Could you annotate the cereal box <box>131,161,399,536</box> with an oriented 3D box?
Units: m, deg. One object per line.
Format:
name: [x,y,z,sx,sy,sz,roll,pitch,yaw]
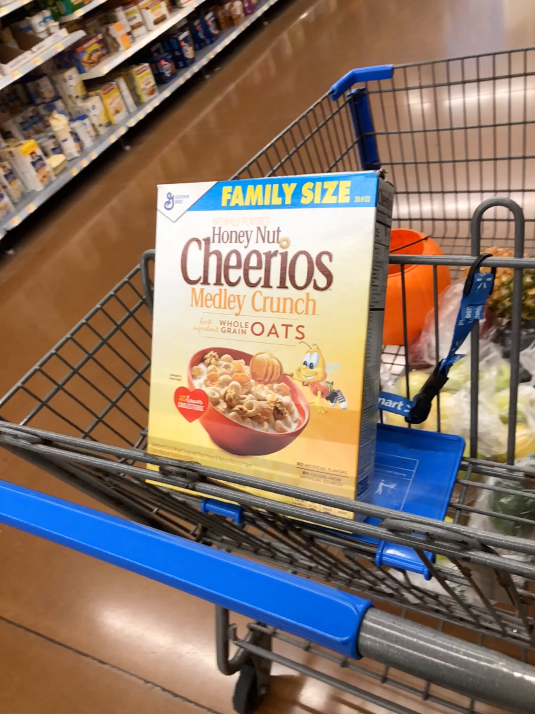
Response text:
cereal box: [-0.012,-0.015,0.594,0.250,0.320,0.070,5,5,29]
